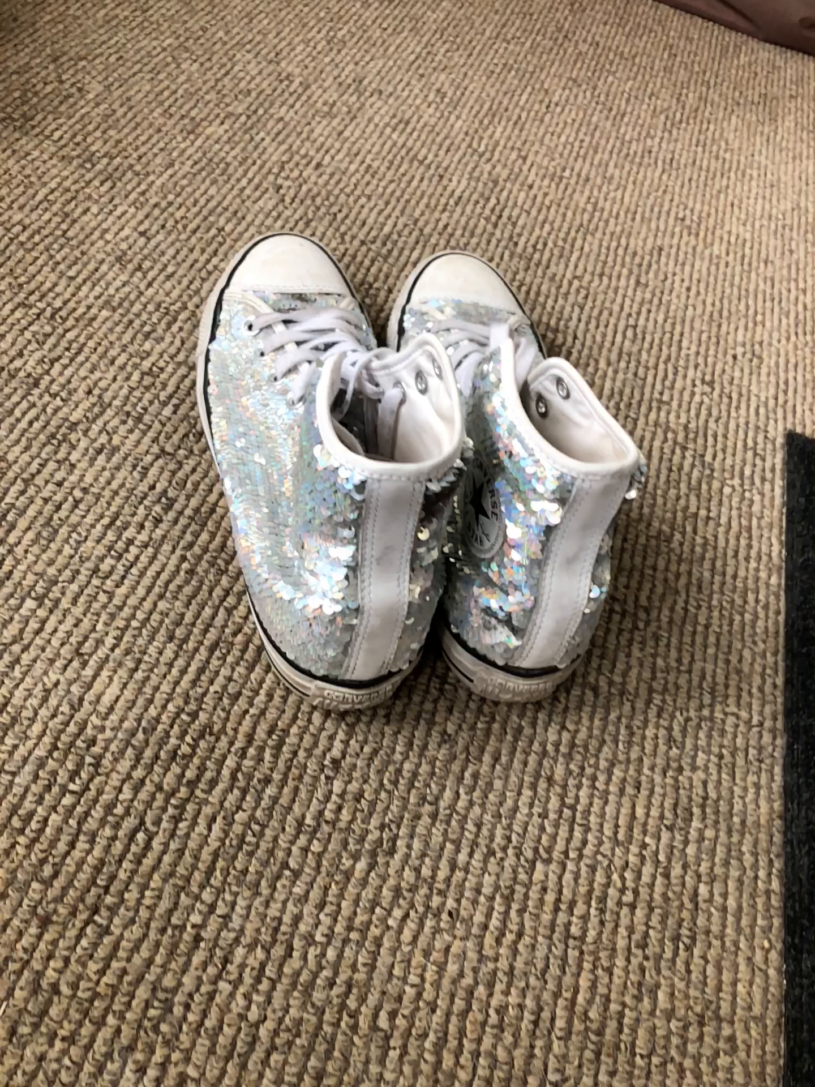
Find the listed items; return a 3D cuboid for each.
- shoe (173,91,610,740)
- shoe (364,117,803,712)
[{"bbox_3d":[-0.033,-0.068,0.421,0.112,0.137,0.265,-4,55,-21],"label":"shoe"},{"bbox_3d":[0.059,-0.068,0.441,0.112,0.127,0.265,3,53,-16],"label":"shoe"}]
